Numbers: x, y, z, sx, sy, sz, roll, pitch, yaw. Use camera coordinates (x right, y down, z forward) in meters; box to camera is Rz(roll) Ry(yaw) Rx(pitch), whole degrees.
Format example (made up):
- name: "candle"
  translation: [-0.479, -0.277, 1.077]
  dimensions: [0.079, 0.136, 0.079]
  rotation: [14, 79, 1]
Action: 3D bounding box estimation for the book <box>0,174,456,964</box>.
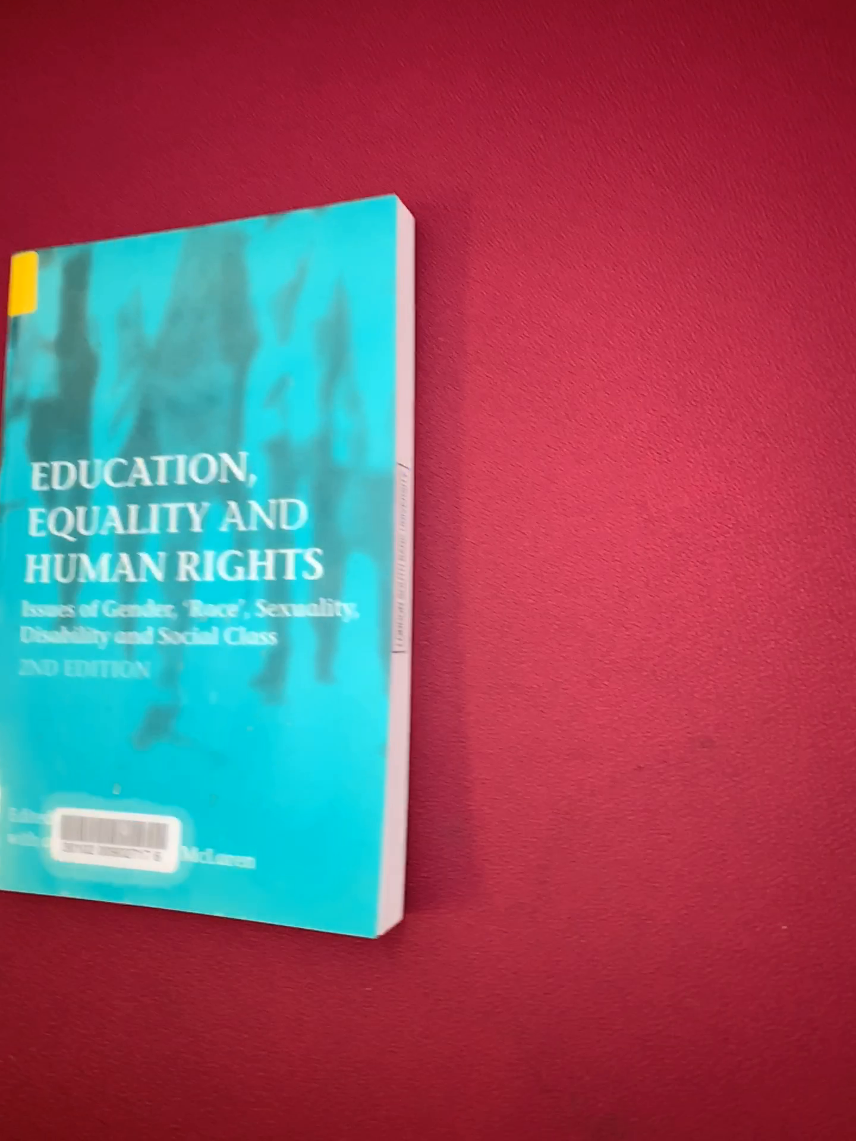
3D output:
- name: "book"
  translation: [-0.081, -0.003, 0.317]
  dimensions: [0.180, 0.030, 0.250]
  rotation: [-2, 83, 18]
